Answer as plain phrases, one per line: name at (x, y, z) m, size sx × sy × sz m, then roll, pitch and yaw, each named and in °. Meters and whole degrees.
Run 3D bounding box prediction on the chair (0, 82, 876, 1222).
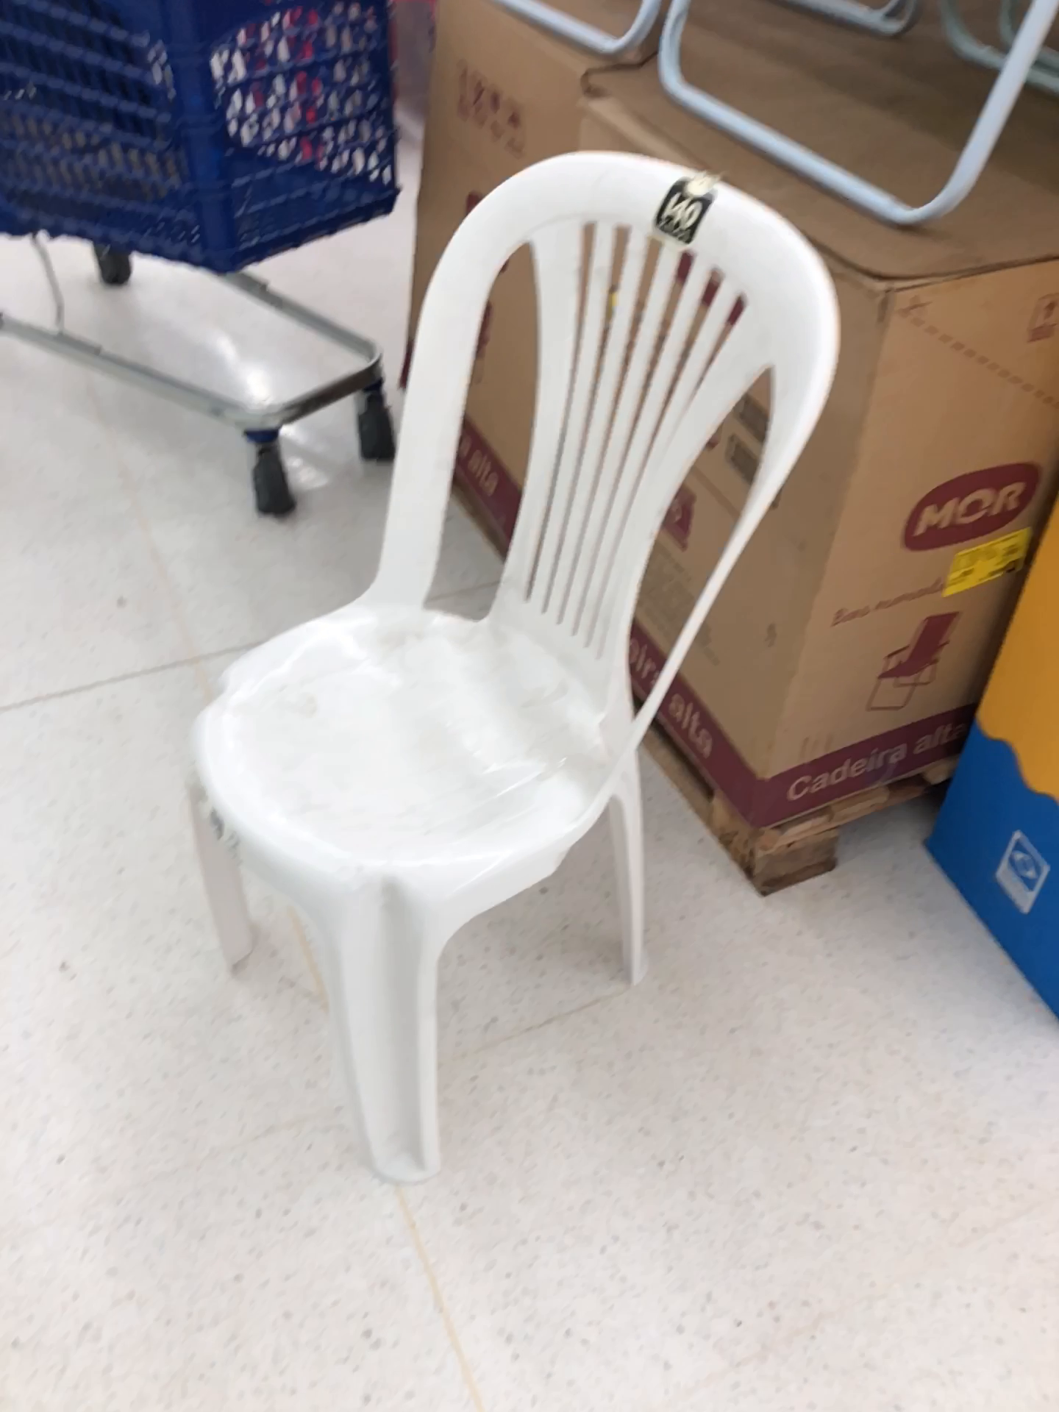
chair at (-0.093, -0.030, 1.069) m, size 0.461 × 0.834 × 0.442 m, roll -29°, pitch 50°, yaw -30°
